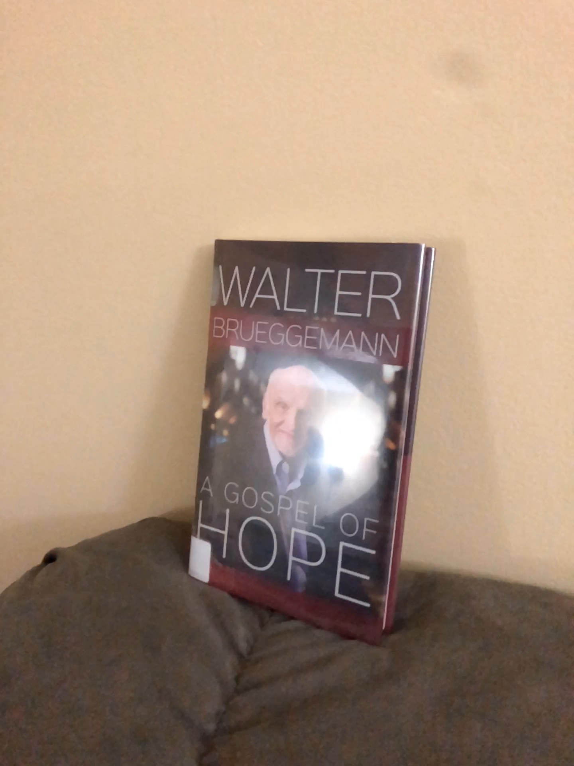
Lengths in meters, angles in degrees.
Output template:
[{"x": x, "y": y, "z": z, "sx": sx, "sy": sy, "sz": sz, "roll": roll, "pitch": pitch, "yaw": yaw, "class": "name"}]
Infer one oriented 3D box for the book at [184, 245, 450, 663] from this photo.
[{"x": 0.010, "y": 0.029, "z": 0.367, "sx": 0.141, "sy": 0.210, "sz": 0.027, "roll": 8, "pitch": 4, "yaw": 35, "class": "book"}]
